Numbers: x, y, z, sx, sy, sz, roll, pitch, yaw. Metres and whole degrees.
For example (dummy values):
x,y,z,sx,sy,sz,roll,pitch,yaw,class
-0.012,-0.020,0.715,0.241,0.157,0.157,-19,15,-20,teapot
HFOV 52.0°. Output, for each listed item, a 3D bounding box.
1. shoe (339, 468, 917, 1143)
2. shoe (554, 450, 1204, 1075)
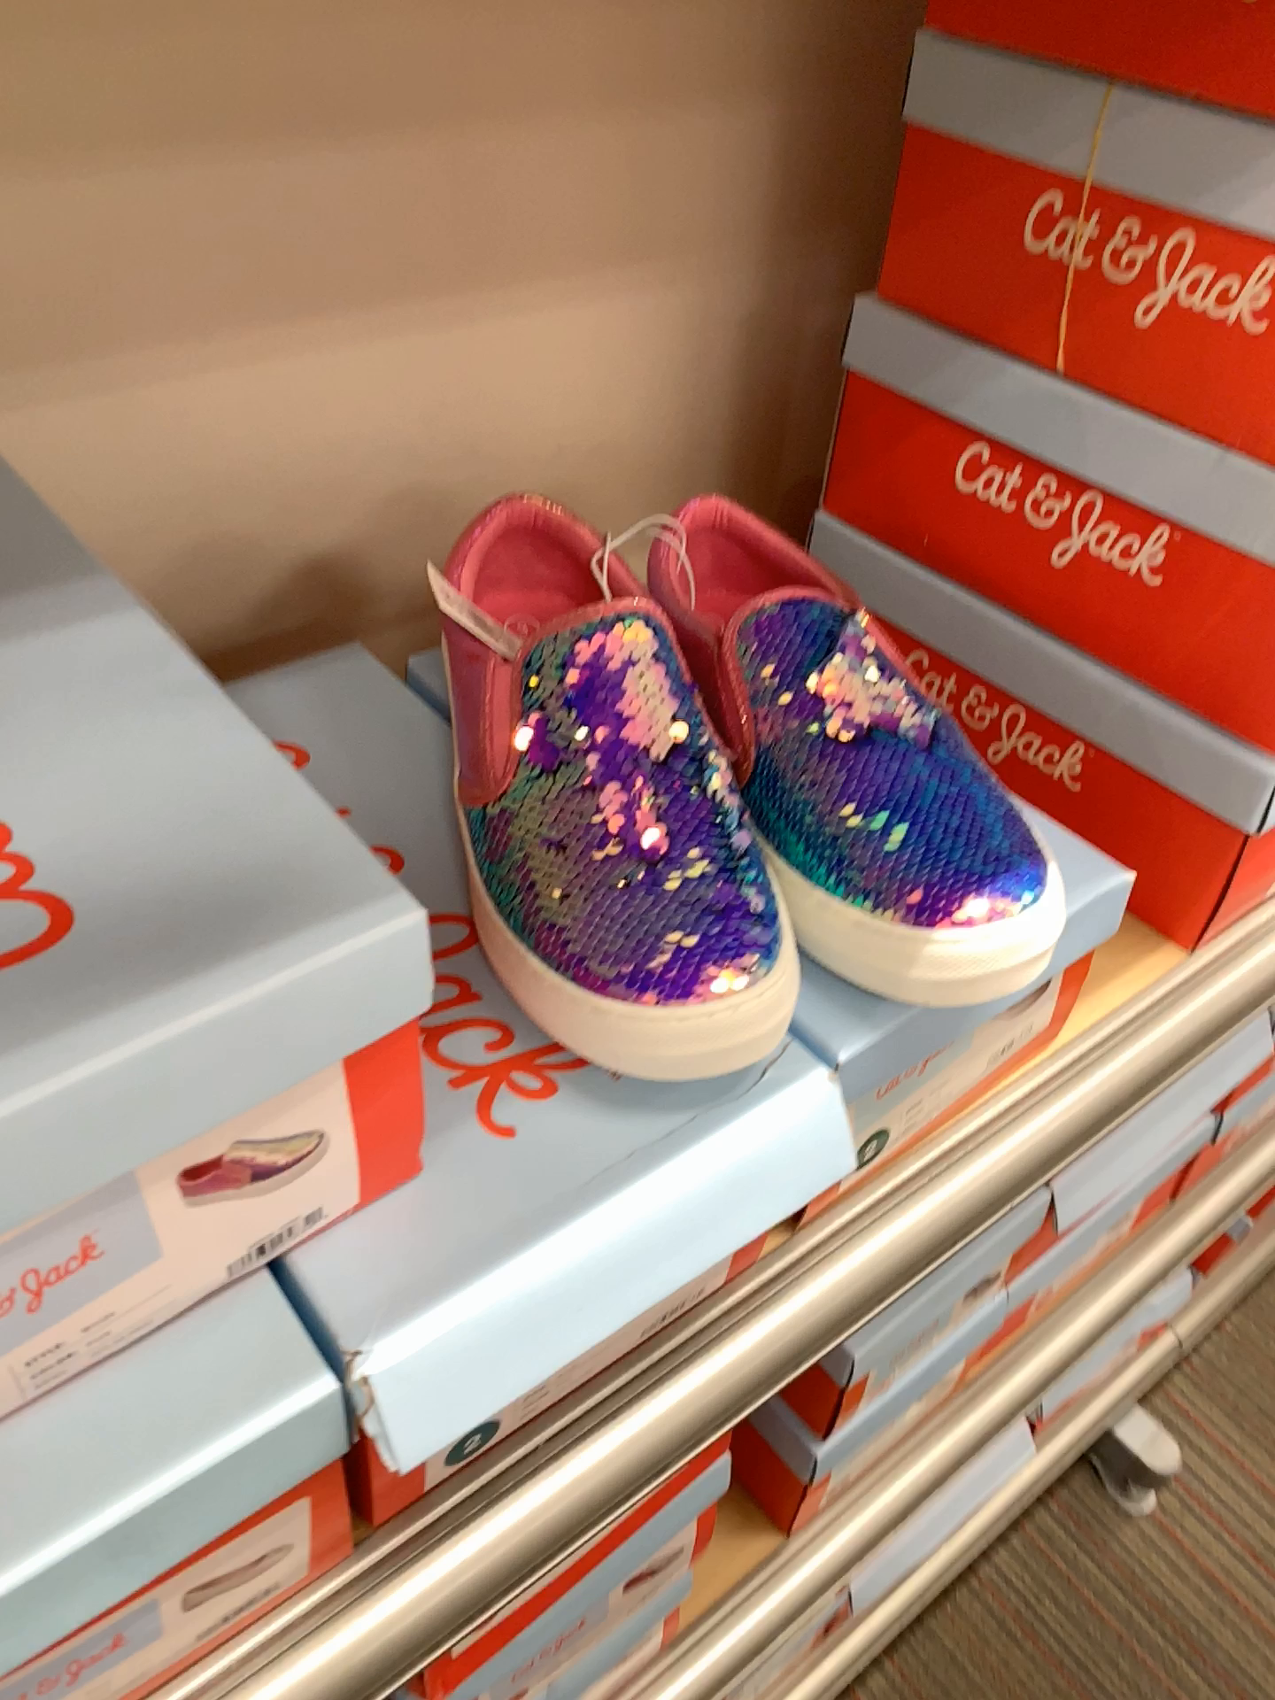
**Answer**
x,y,z,sx,sy,sz,roll,pitch,yaw,class
-0.018,-0.030,0.397,0.100,0.074,0.211,-11,44,-17,shoe
0.059,-0.043,0.420,0.090,0.074,0.211,-16,46,-23,shoe
